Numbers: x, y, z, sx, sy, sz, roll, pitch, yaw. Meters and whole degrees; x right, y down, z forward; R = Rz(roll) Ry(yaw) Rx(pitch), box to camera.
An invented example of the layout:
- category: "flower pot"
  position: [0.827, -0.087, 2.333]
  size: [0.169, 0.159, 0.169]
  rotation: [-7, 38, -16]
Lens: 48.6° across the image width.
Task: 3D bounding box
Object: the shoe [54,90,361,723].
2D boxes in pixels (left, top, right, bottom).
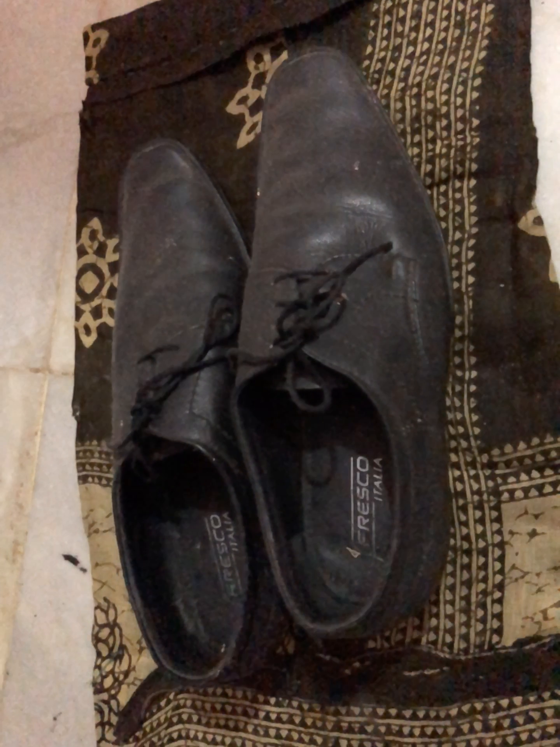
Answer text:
- category: "shoe"
  position: [-0.049, 0.017, 0.381]
  size: [0.110, 0.070, 0.340]
  rotation: [-15, 80, 22]

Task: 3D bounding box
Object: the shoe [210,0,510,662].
- category: "shoe"
  position: [0.041, -0.033, 0.342]
  size: [0.110, 0.070, 0.340]
  rotation: [-9, 82, 23]
